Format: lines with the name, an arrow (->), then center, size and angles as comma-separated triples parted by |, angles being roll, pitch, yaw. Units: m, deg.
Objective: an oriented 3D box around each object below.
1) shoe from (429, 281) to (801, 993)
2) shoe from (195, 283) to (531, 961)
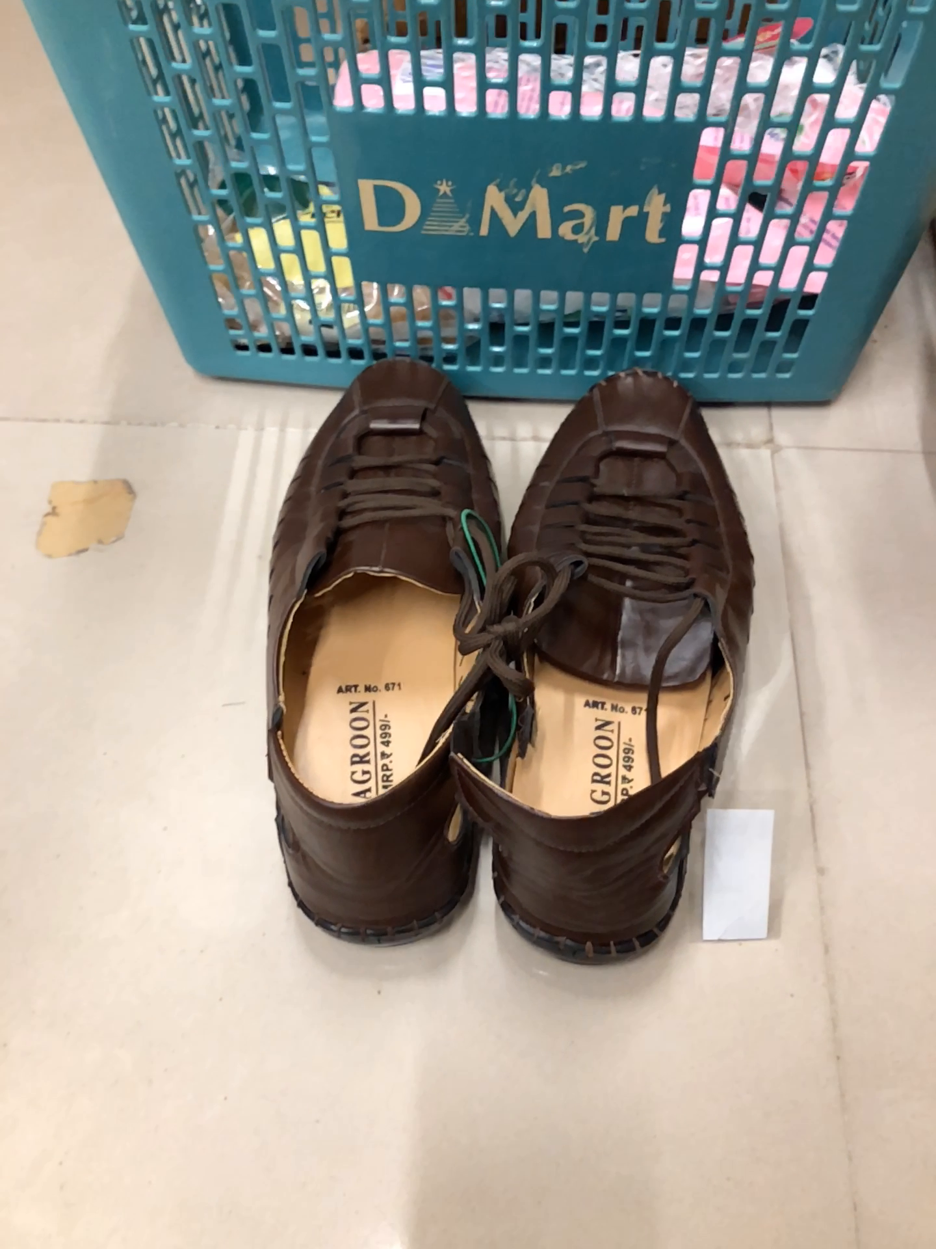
shoe -> 0.068, -0.006, 0.436 | 0.112, 0.101, 0.273 | 8, 60, 7
shoe -> -0.034, -0.010, 0.442 | 0.107, 0.101, 0.273 | -2, 59, 1
